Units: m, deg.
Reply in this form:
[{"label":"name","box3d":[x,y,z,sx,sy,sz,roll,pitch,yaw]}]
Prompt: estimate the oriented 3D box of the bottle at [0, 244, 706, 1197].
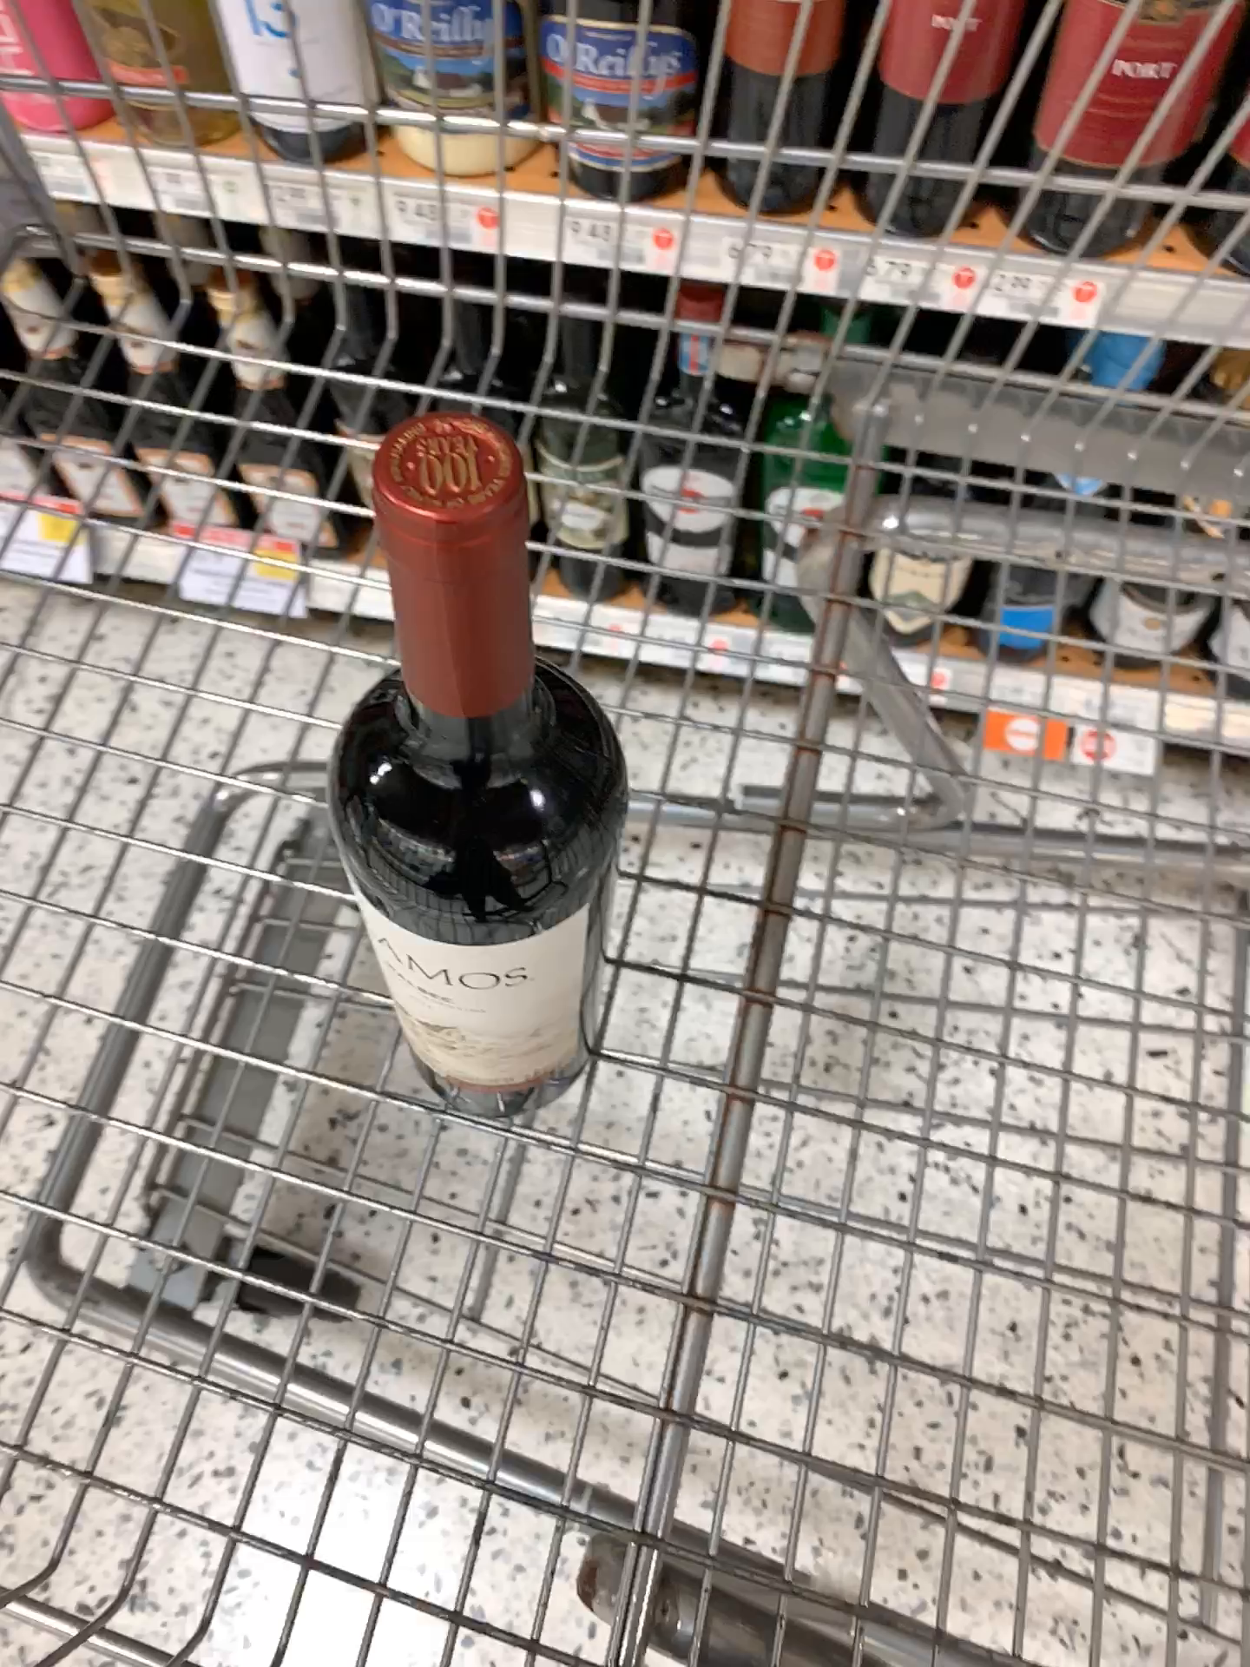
[{"label":"bottle","box3d":[-0.047,0.008,0.351,0.090,0.298,0.080,33,67,15]}]
